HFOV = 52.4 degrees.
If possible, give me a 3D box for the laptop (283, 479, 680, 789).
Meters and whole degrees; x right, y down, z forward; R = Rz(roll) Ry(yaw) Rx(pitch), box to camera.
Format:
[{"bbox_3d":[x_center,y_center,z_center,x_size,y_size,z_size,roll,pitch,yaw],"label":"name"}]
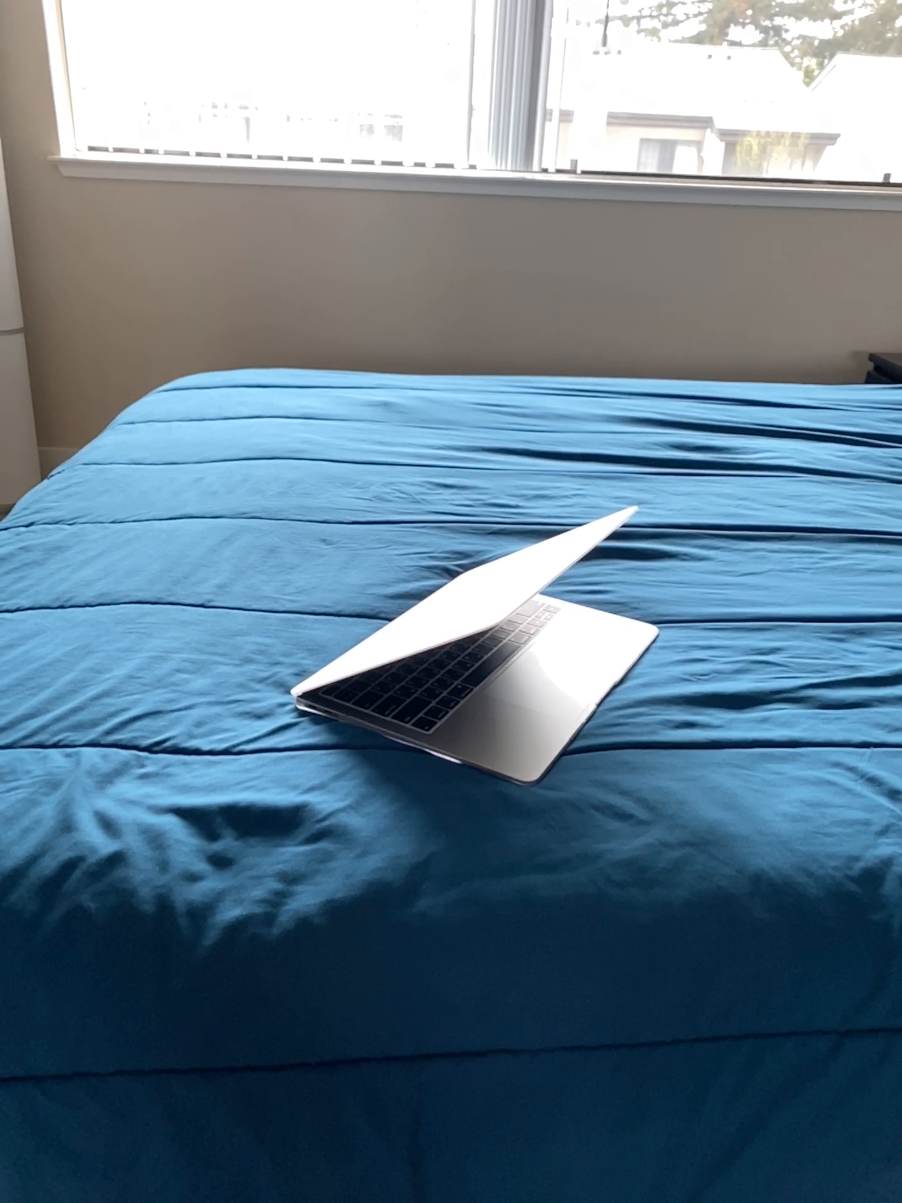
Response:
[{"bbox_3d":[0.042,0.004,0.810,0.219,0.106,0.312,17,28,24],"label":"laptop"}]
